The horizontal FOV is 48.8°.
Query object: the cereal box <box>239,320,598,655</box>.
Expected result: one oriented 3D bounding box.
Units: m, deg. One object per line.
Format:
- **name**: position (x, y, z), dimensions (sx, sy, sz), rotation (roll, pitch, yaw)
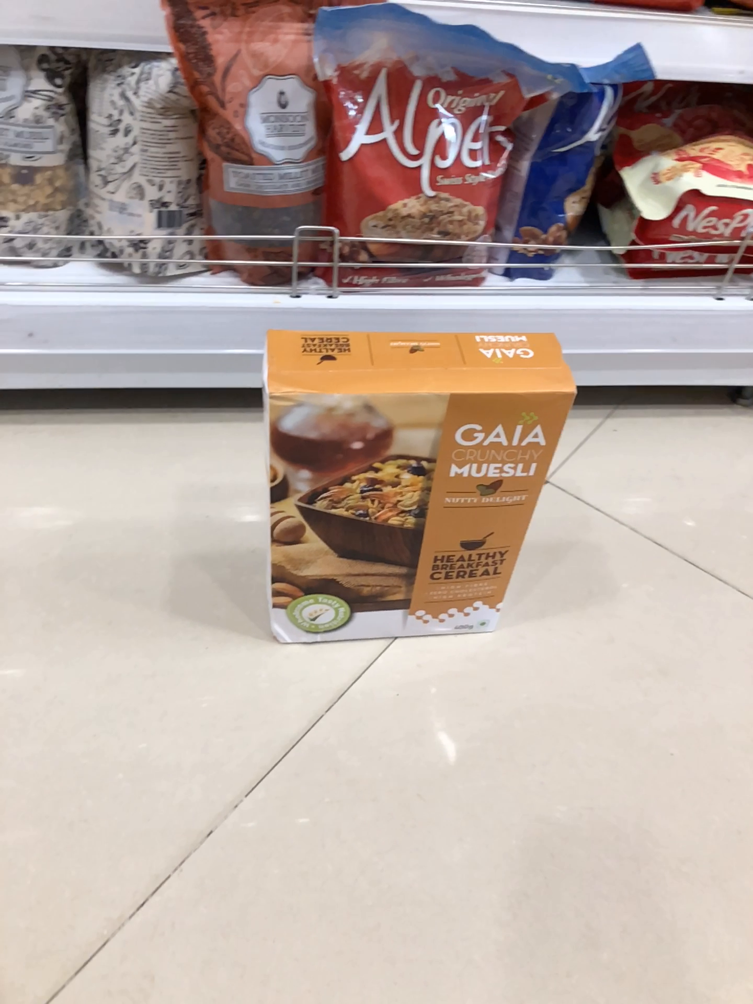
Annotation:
- **cereal box**: position (0.012, 0.003, 0.545), dimensions (0.190, 0.248, 0.060), rotation (-1, 48, -8)
